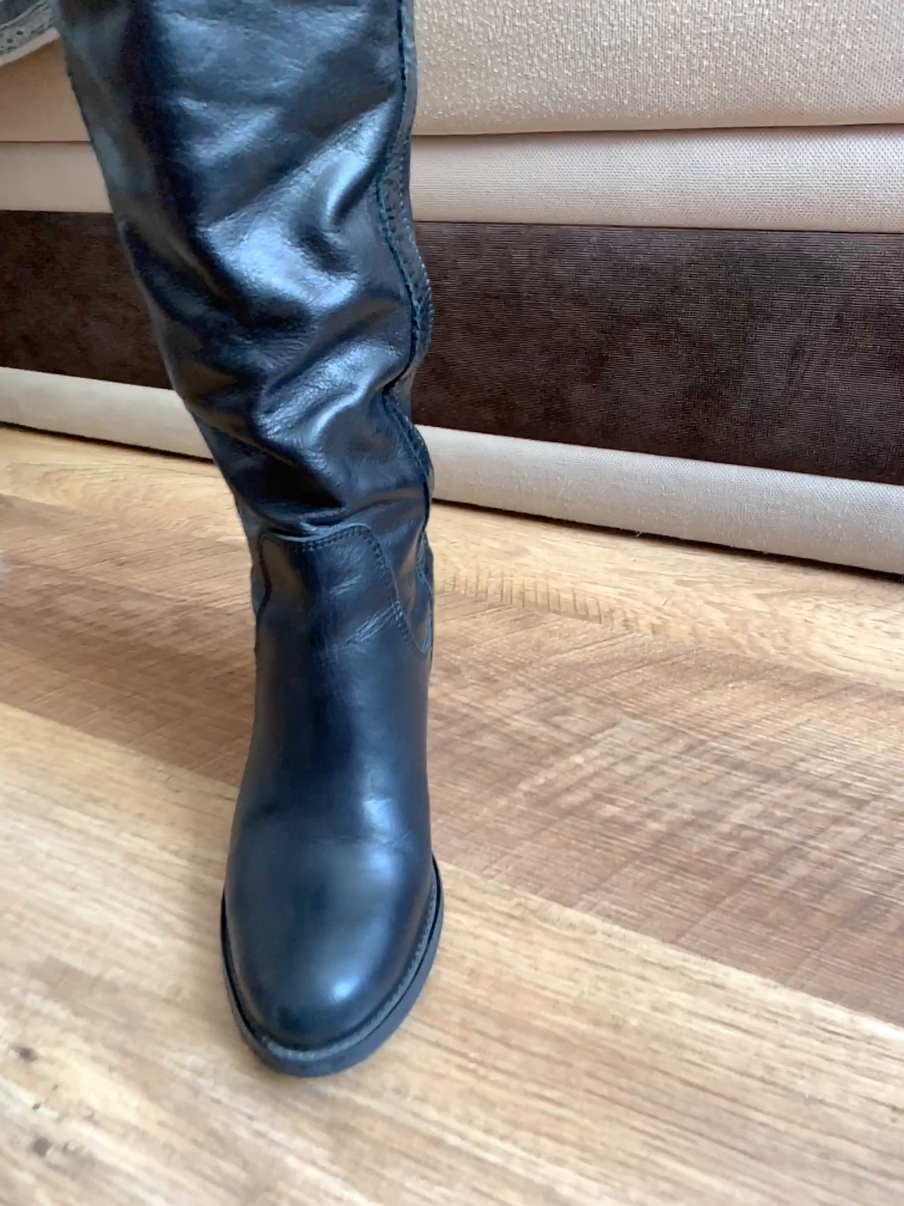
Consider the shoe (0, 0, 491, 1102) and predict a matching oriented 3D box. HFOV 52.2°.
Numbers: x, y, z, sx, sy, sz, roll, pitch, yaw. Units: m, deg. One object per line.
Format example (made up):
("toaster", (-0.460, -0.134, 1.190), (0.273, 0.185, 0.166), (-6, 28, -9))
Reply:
("shoe", (-0.052, -0.115, 0.243), (0.100, 0.497, 0.211), (-1, 32, 5))
